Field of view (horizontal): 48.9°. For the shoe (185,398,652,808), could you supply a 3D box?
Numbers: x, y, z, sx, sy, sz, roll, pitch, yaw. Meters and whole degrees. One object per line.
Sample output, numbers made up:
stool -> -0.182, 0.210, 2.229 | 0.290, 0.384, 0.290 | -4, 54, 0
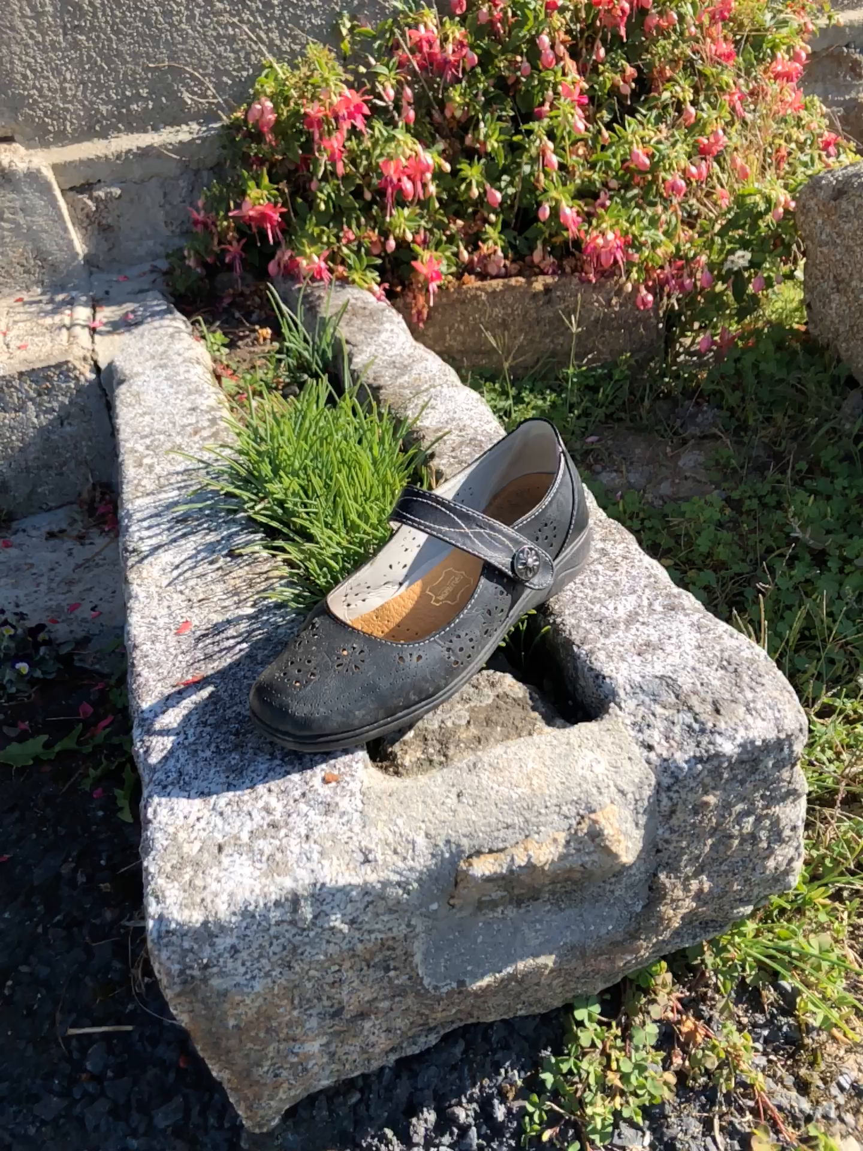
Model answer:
shoe -> 0.007, -0.001, 0.533 | 0.251, 0.099, 0.100 | -31, 39, -33
